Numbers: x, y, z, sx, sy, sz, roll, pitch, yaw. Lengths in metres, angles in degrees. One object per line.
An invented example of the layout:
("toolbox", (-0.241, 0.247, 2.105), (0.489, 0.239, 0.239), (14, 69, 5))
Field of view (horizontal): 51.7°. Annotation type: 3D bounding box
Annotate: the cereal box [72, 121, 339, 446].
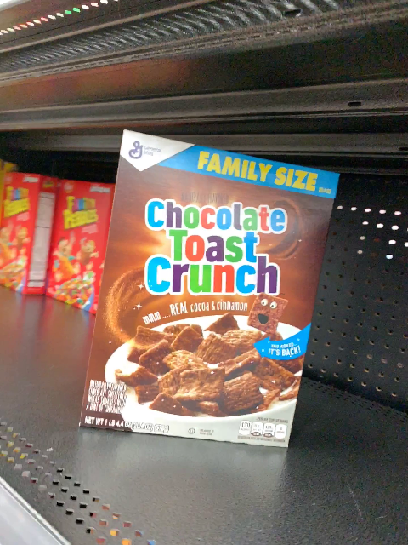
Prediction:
("cereal box", (-0.002, 0.020, 0.482), (0.240, 0.320, 0.070), (8, 5, -9))
